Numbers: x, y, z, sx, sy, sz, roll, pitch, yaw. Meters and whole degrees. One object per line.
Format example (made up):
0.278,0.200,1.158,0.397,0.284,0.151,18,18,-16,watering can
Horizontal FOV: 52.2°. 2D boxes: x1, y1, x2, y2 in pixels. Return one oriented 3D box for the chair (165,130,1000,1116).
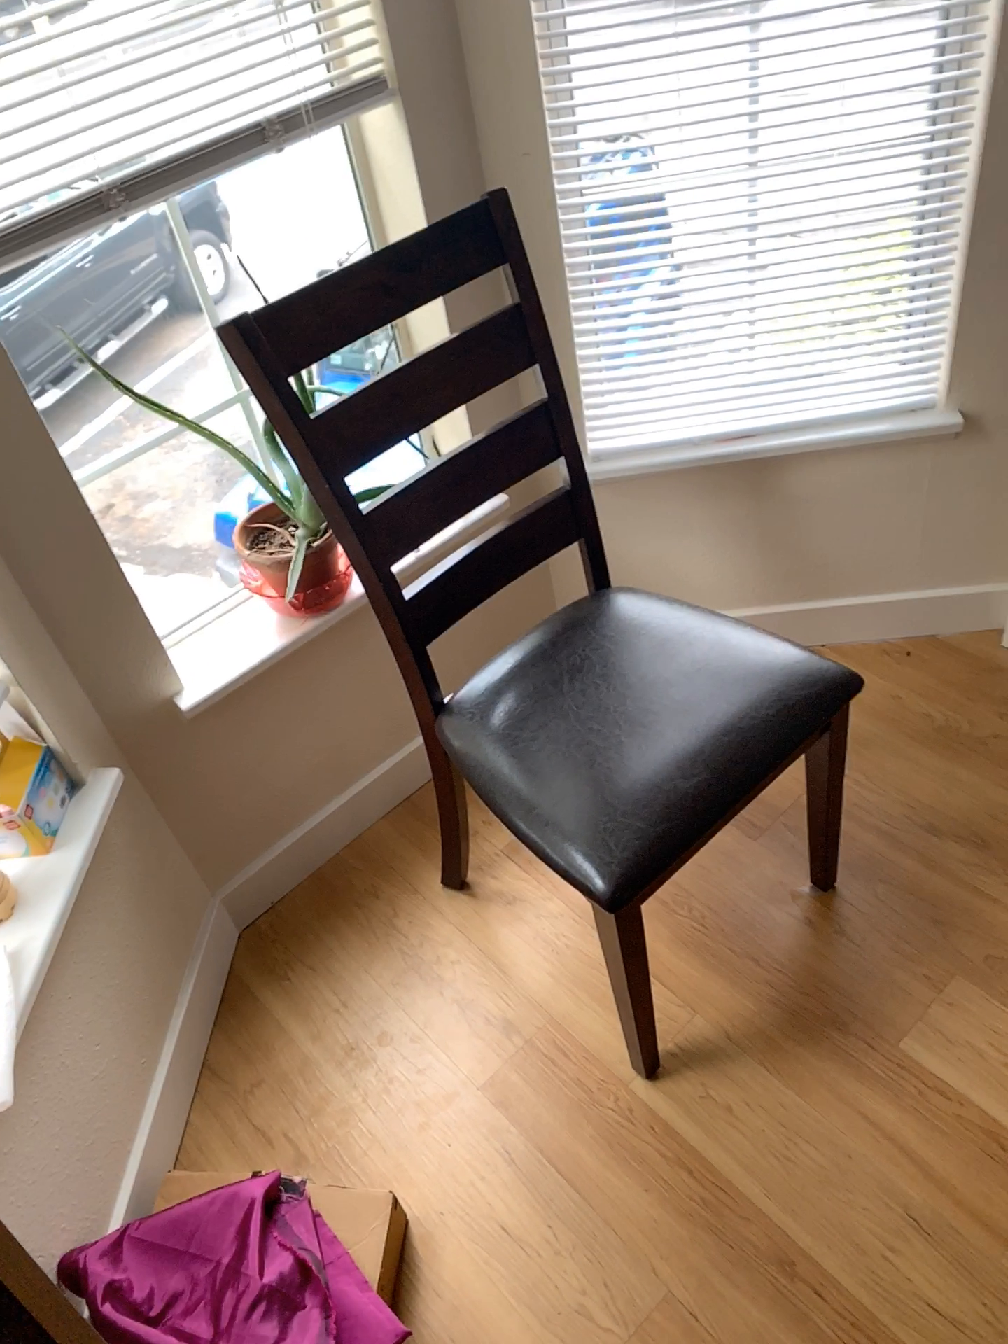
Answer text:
0.127,-0.041,1.278,0.561,0.945,0.542,-37,48,-24,chair
